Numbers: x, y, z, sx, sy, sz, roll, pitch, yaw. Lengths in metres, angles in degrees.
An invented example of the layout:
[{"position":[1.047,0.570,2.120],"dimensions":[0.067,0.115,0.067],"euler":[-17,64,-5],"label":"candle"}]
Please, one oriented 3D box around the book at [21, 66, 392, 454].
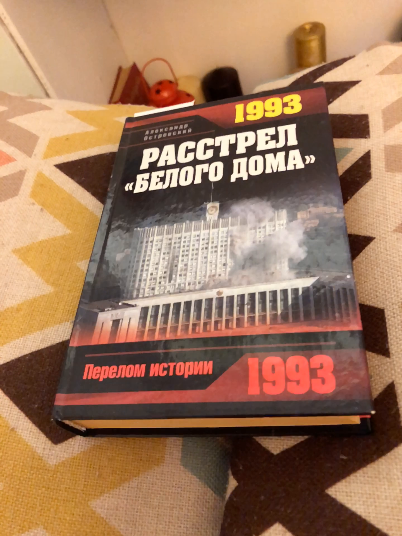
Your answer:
[{"position":[0.004,-0.018,0.235],"dimensions":[0.140,0.030,0.211],"euler":[-7,53,15],"label":"book"}]
